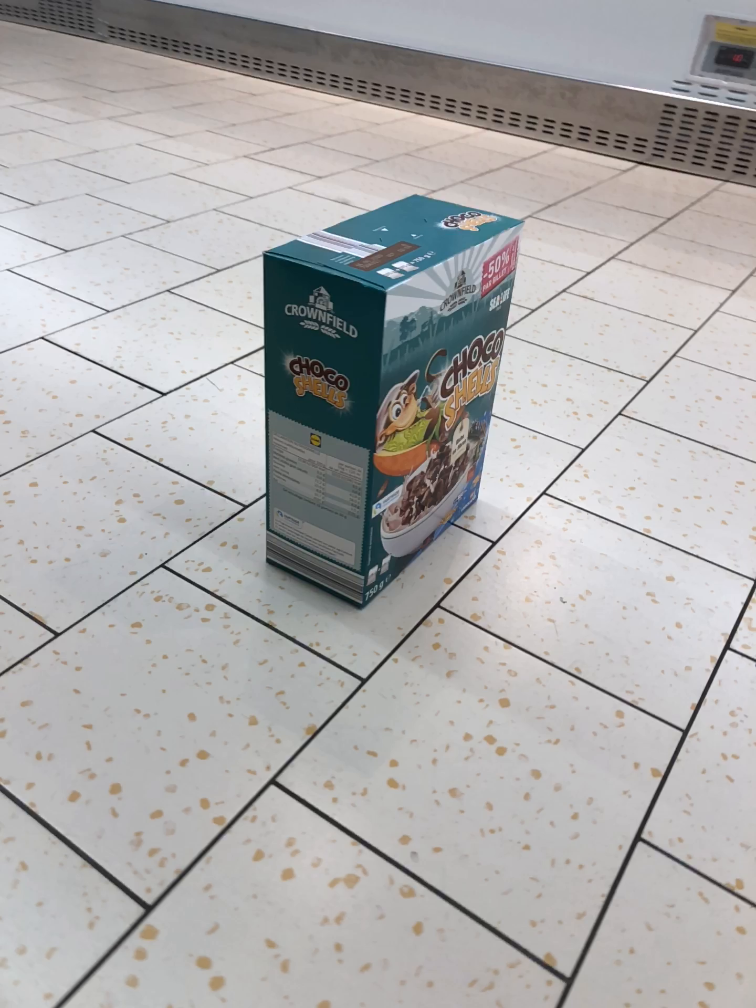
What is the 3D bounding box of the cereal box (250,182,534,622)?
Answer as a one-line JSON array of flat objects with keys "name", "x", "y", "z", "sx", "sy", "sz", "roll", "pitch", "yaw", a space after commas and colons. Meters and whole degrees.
[{"name": "cereal box", "x": 0.009, "y": -0.086, "z": 0.653, "sx": 0.100, "sy": 0.268, "sz": 0.211, "roll": 24, "pitch": 39, "yaw": 24}]
